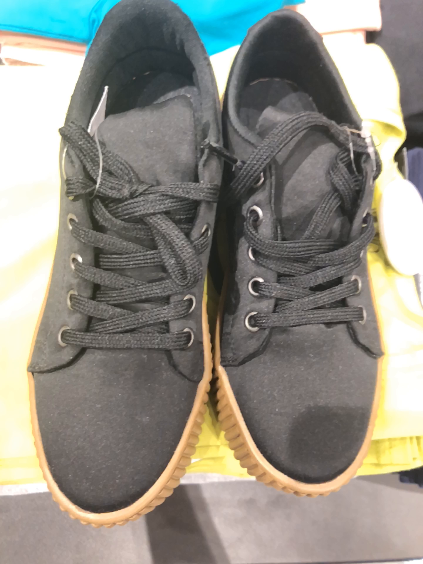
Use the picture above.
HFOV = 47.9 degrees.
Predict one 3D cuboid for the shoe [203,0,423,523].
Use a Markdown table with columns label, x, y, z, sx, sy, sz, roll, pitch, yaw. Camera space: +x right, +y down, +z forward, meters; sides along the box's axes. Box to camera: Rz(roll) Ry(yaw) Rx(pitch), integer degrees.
| label | x | y | z | sx | sy | sz | roll | pitch | yaw |
| --- | --- | --- | --- | --- | --- | --- | --- | --- | --- |
| shoe | 0.047 | -0.023 | 0.239 | 0.090 | 0.080 | 0.240 | 0 | 77 | -7 |

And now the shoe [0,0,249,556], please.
| label | x | y | z | sx | sy | sz | roll | pitch | yaw |
| --- | --- | --- | --- | --- | --- | --- | --- | --- | --- |
| shoe | -0.036 | -0.012 | 0.223 | 0.090 | 0.080 | 0.230 | 4 | 76 | -6 |
